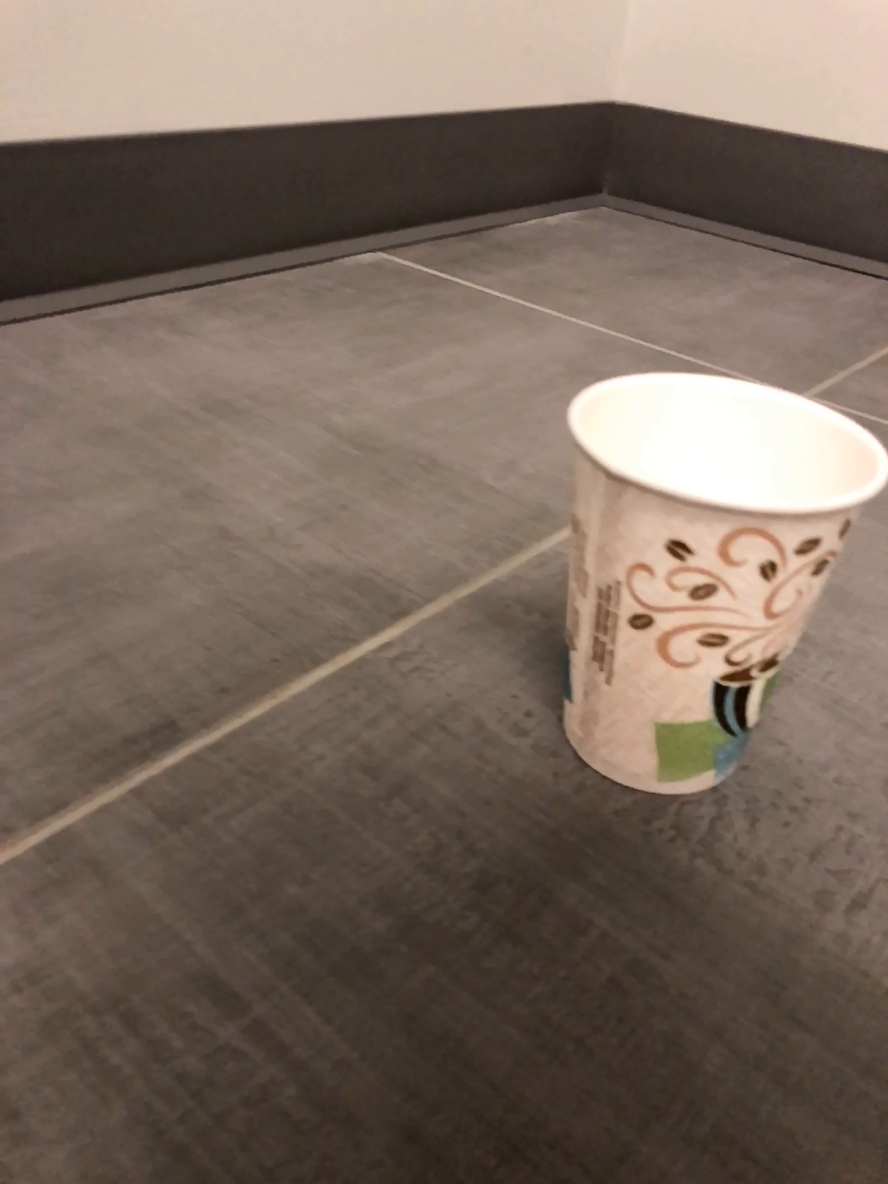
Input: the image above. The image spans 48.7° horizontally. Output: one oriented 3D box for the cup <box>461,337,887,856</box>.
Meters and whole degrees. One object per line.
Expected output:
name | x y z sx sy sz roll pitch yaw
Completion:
cup | 0.076 -0.007 0.295 0.090 0.099 0.100 -20 40 -34
